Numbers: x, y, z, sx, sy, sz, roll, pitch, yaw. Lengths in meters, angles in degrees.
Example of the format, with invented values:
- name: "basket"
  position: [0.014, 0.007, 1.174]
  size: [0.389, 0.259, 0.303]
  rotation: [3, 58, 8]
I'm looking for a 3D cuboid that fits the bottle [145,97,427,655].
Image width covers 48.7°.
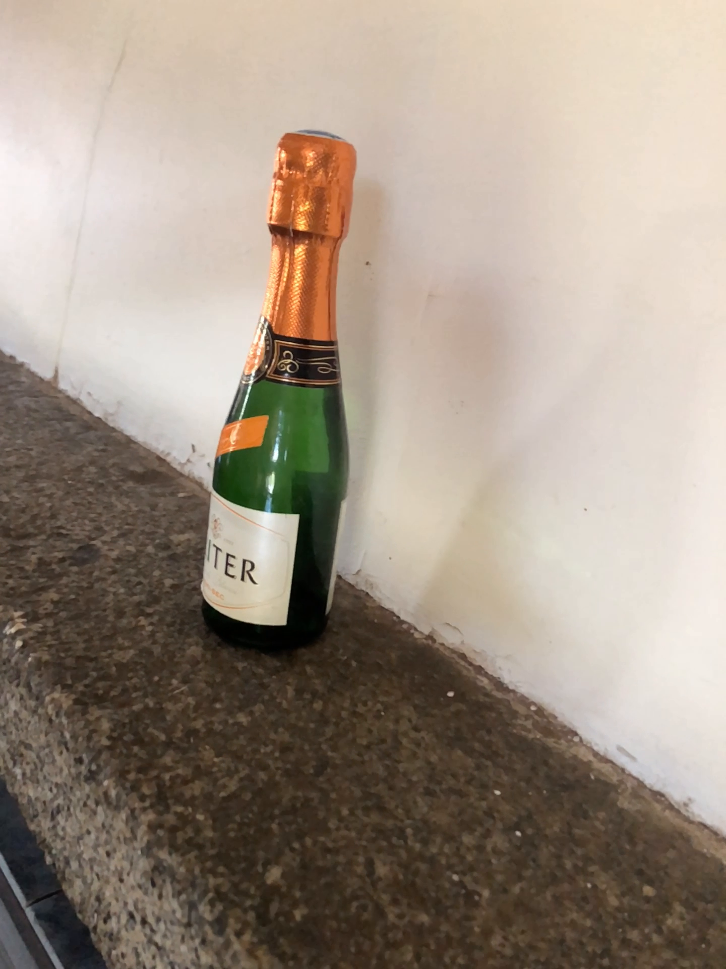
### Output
- name: "bottle"
  position: [-0.036, -0.040, 0.326]
  size: [0.070, 0.199, 0.060]
  rotation: [-5, 22, -38]
